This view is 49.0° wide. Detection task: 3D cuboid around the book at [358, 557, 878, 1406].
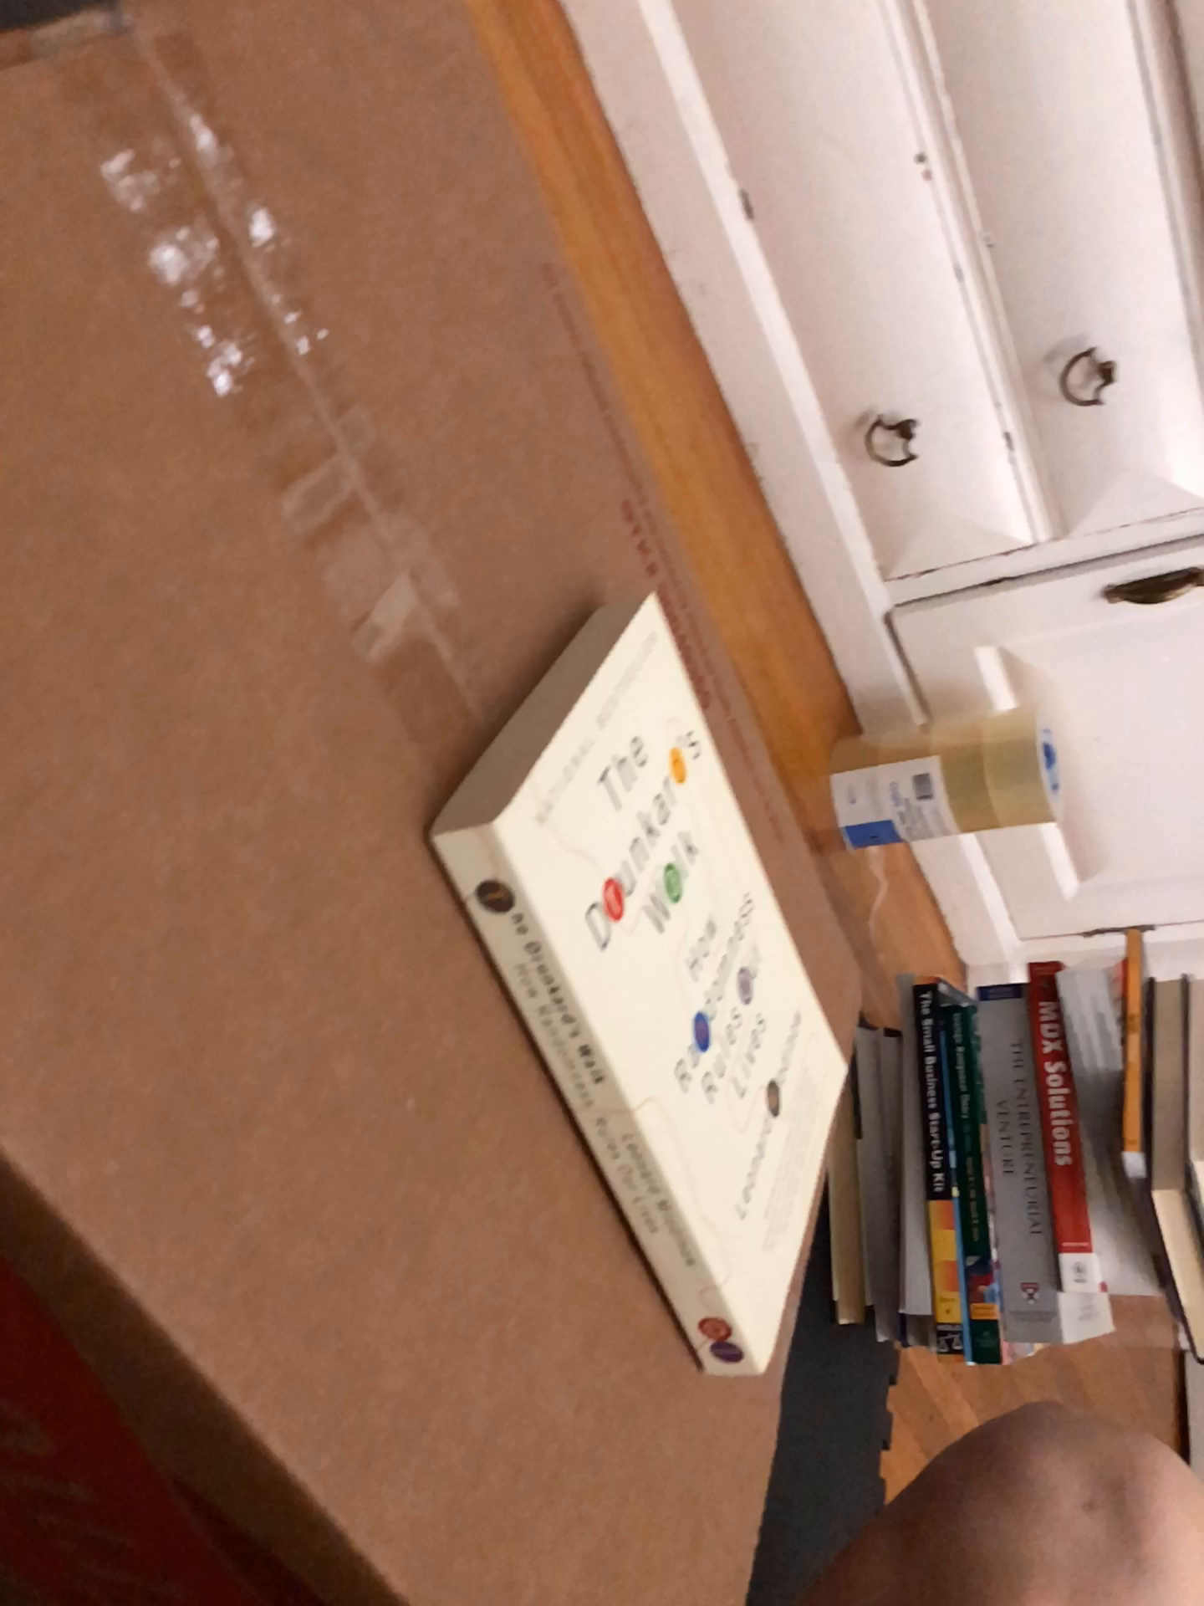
[{"bbox_3d":[0.023,0.053,0.401,0.210,0.040,0.141,65,32,-25],"label":"book"}]
